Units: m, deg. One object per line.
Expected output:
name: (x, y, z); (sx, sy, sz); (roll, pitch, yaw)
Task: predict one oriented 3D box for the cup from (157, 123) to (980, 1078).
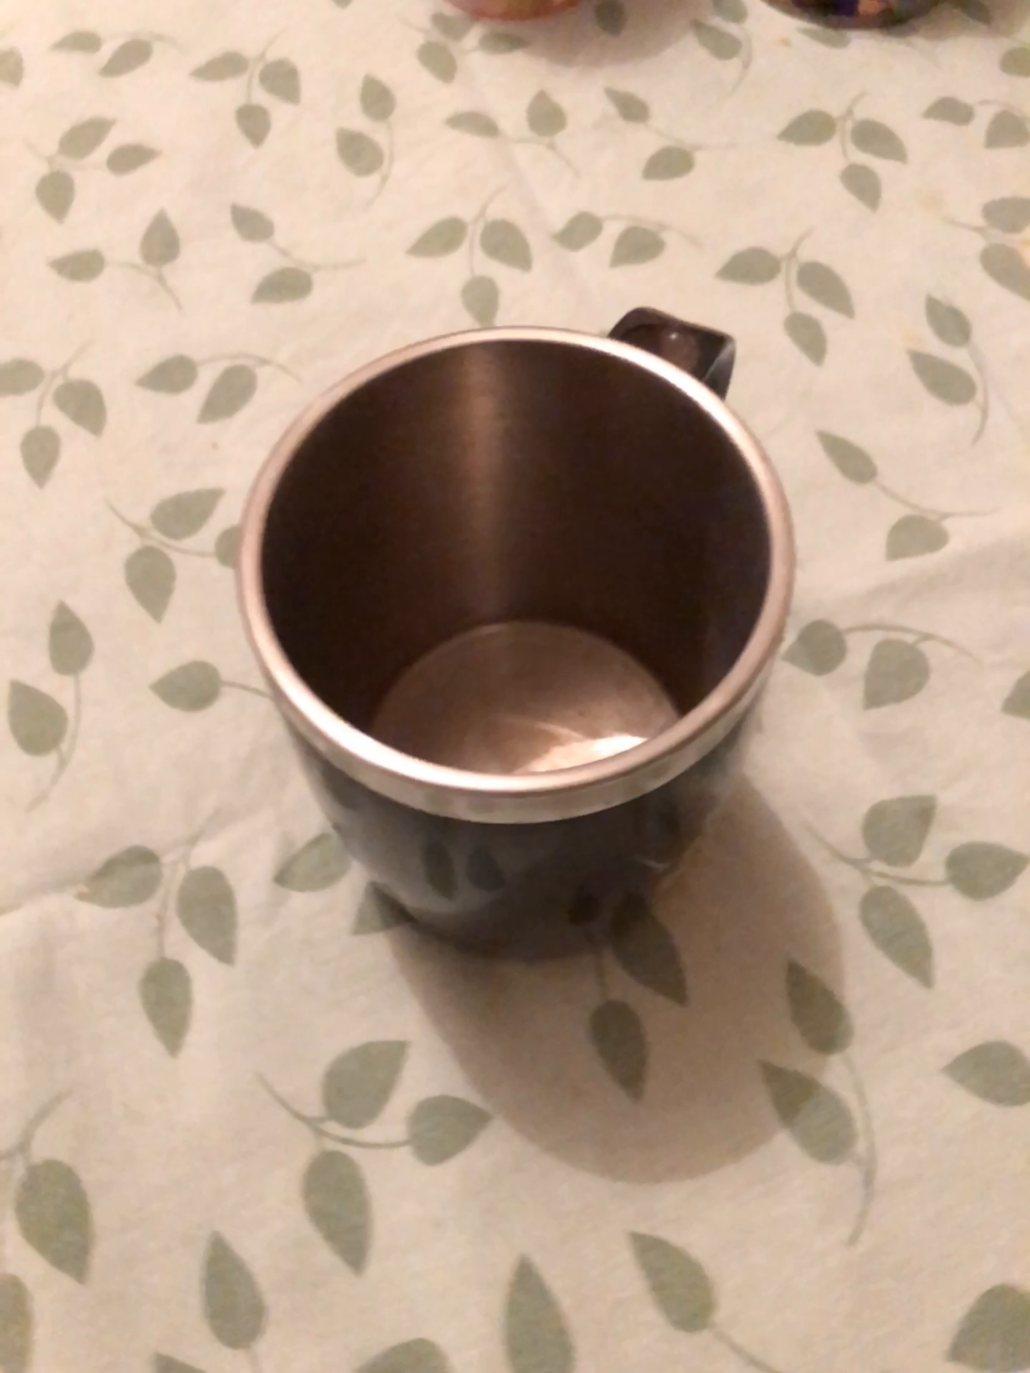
cup: (0.016, -0.010, 0.234); (0.090, 0.119, 0.131); (18, 65, 10)
